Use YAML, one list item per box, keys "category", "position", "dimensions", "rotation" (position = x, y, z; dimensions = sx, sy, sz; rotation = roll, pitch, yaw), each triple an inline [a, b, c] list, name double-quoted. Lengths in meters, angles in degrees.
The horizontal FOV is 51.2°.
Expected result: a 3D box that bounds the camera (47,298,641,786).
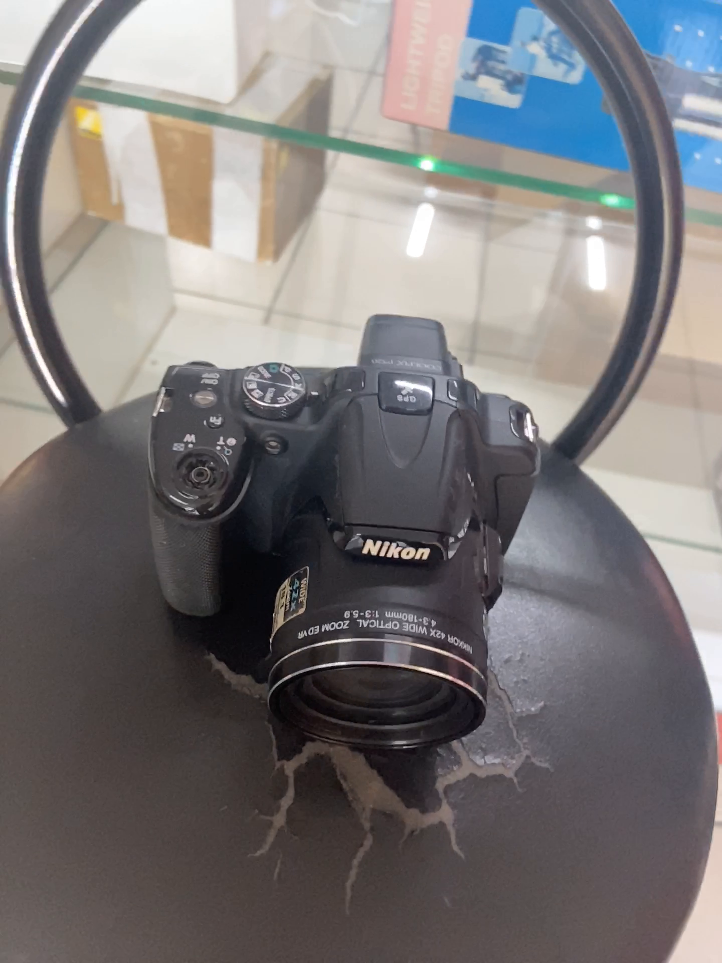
- category: "camera"
  position: [-0.003, 0.015, 0.230]
  dimensions: [0.130, 0.070, 0.121]
  rotation: [5, 48, -3]
